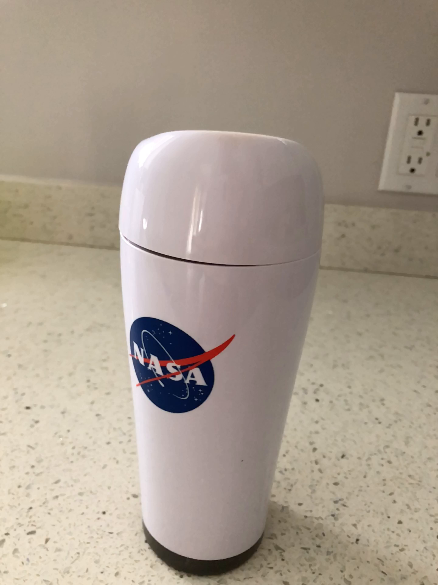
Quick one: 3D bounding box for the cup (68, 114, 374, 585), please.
[{"bbox_3d":[0.000,0.024,0.210,0.078,0.182,0.081,3,23,-1],"label":"cup"}]
